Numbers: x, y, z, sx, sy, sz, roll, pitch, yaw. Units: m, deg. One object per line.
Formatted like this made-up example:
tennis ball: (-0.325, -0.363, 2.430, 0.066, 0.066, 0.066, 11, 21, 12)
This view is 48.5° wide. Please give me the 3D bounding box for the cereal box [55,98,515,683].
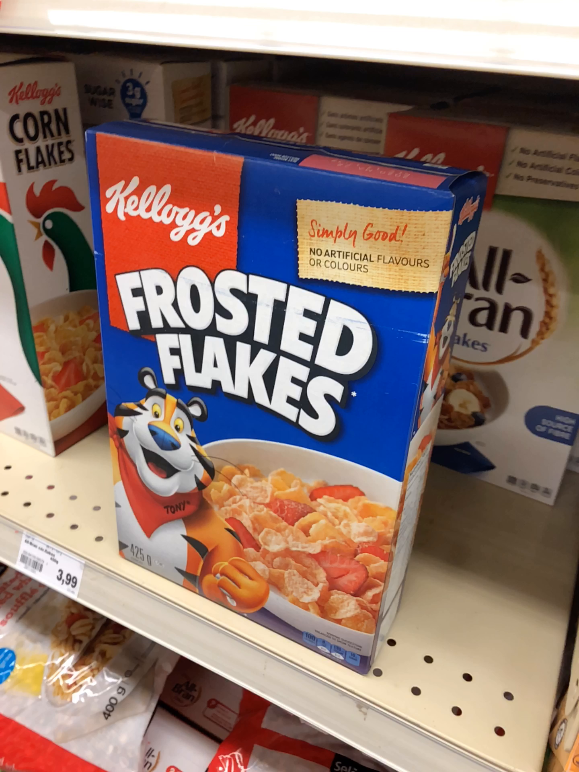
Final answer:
cereal box: (-0.018, 0.002, 0.360, 0.210, 0.278, 0.060, 18, 31, 24)
